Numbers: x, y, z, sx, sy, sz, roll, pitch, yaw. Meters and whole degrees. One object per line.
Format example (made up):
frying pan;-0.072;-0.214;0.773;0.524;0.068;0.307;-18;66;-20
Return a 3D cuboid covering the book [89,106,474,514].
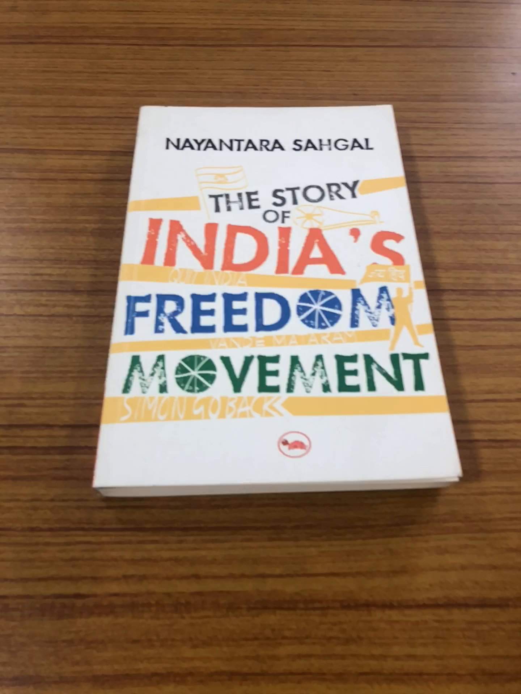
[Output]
book;0.006;-0.028;0.254;0.130;0.030;0.190;-1;62;-1
